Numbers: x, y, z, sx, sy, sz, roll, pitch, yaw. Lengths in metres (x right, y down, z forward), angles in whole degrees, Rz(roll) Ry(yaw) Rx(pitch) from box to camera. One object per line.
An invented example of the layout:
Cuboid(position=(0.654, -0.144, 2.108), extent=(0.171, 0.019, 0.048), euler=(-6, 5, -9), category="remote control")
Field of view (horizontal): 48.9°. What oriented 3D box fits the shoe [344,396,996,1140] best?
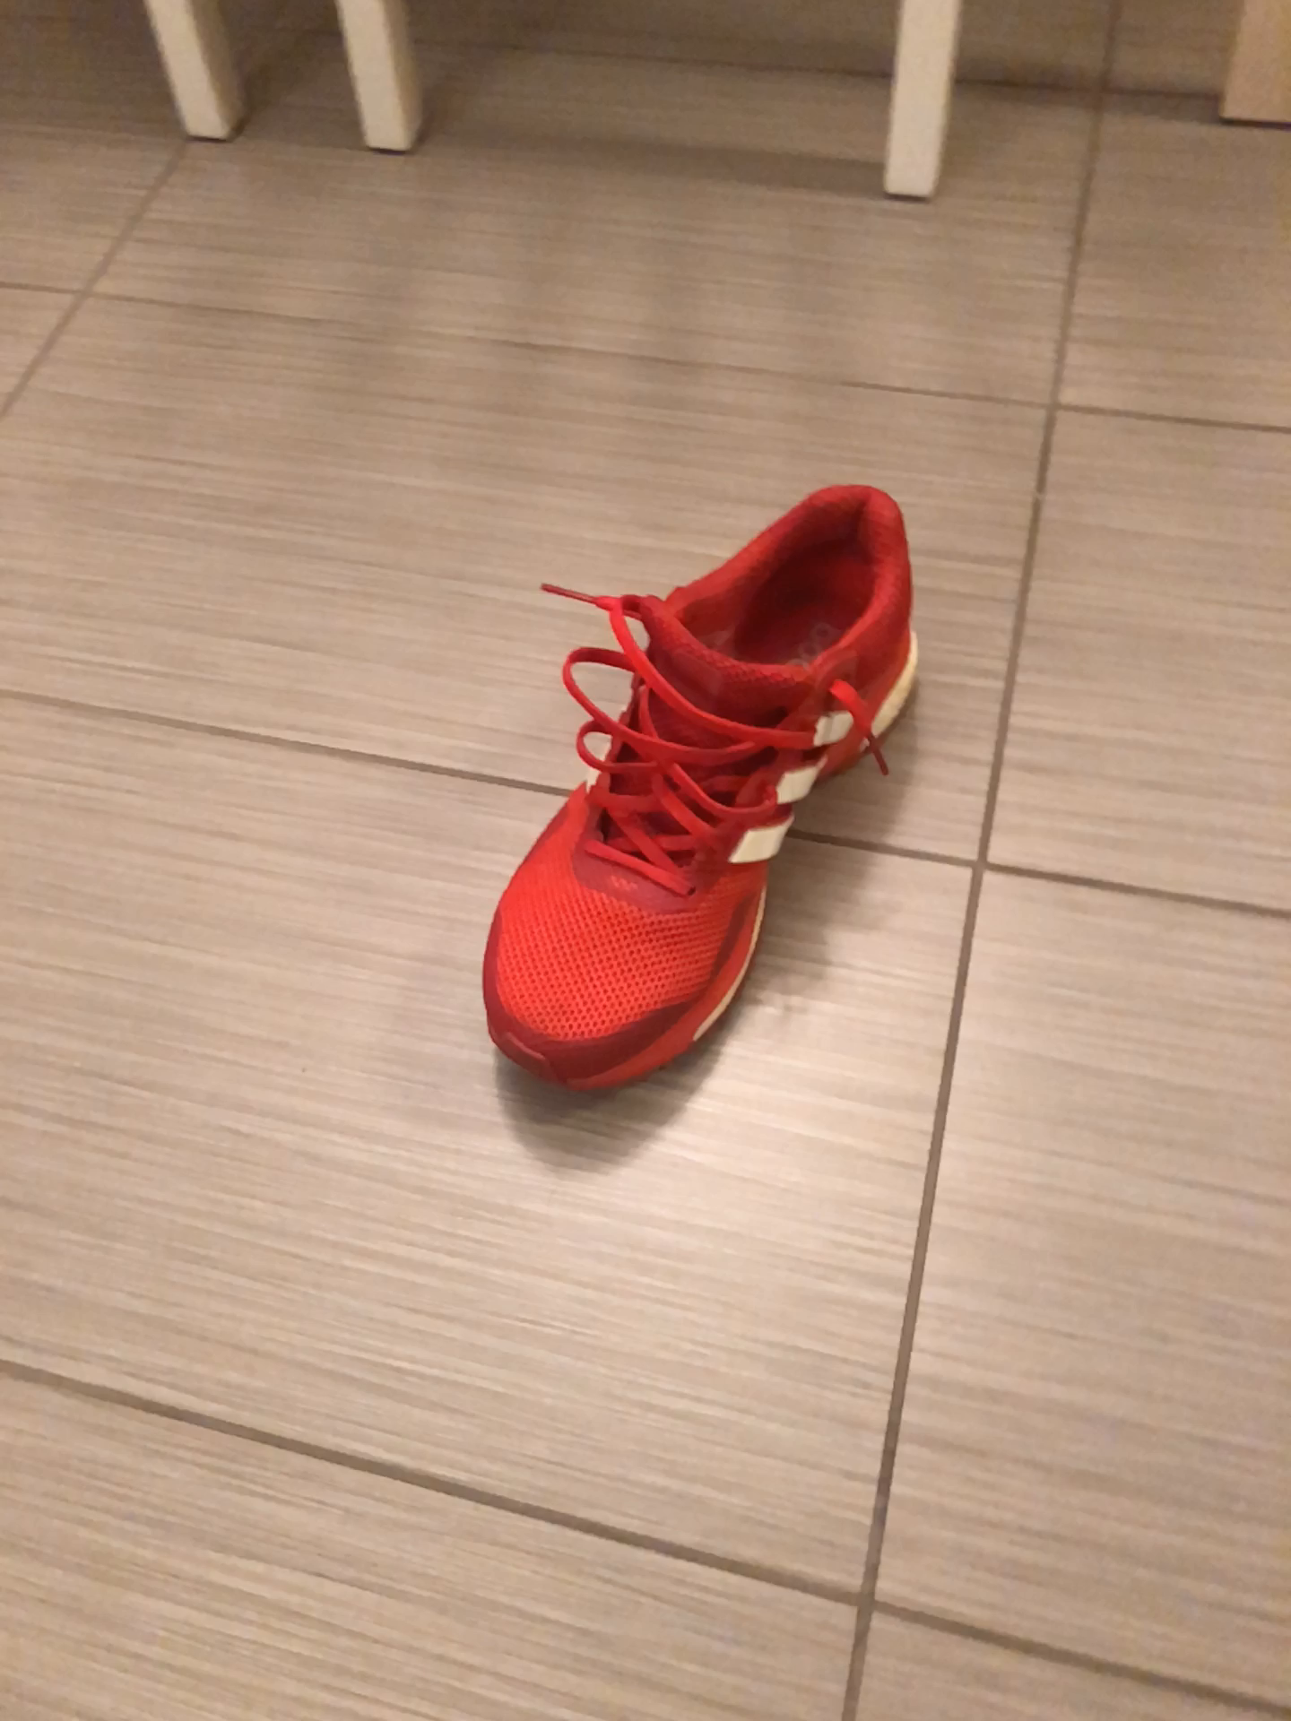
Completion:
Cuboid(position=(0.023, -0.049, 0.597), extent=(0.120, 0.100, 0.291), euler=(26, 64, 20), category="shoe")
